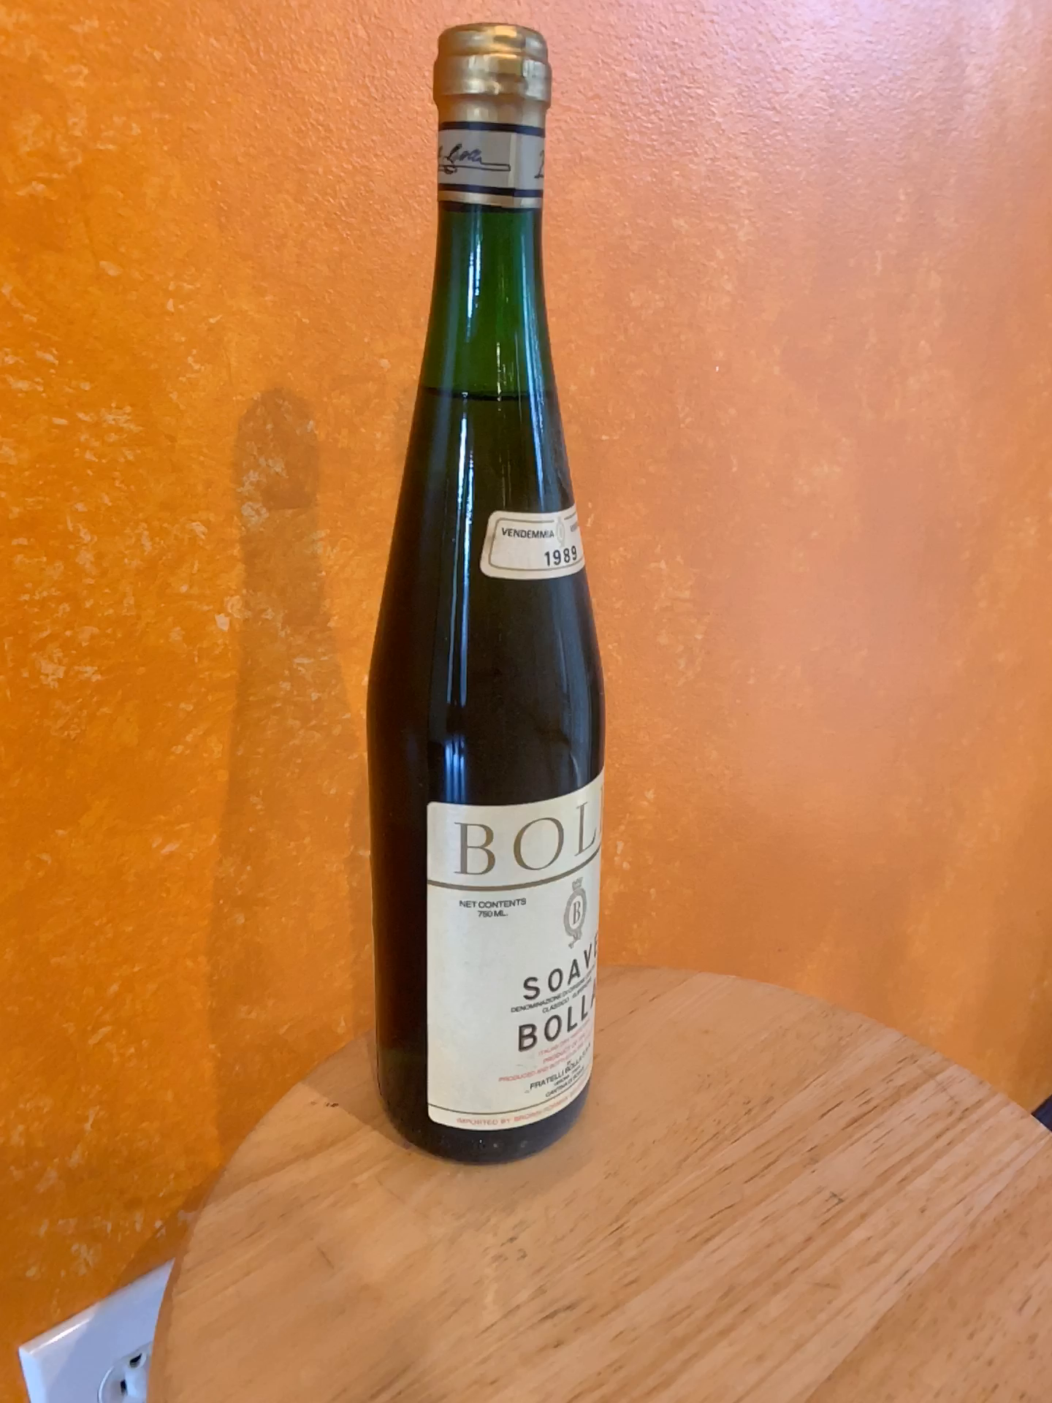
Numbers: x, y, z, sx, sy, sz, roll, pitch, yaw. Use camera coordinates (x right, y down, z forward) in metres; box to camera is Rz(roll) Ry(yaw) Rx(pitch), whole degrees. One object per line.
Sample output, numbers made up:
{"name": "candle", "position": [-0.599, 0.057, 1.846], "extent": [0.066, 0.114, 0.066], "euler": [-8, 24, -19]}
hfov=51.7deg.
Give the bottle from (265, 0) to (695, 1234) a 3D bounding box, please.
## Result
{"name": "bottle", "position": [-0.015, -0.012, 0.327], "extent": [0.070, 0.338, 0.080], "euler": [19, 27, 39]}
